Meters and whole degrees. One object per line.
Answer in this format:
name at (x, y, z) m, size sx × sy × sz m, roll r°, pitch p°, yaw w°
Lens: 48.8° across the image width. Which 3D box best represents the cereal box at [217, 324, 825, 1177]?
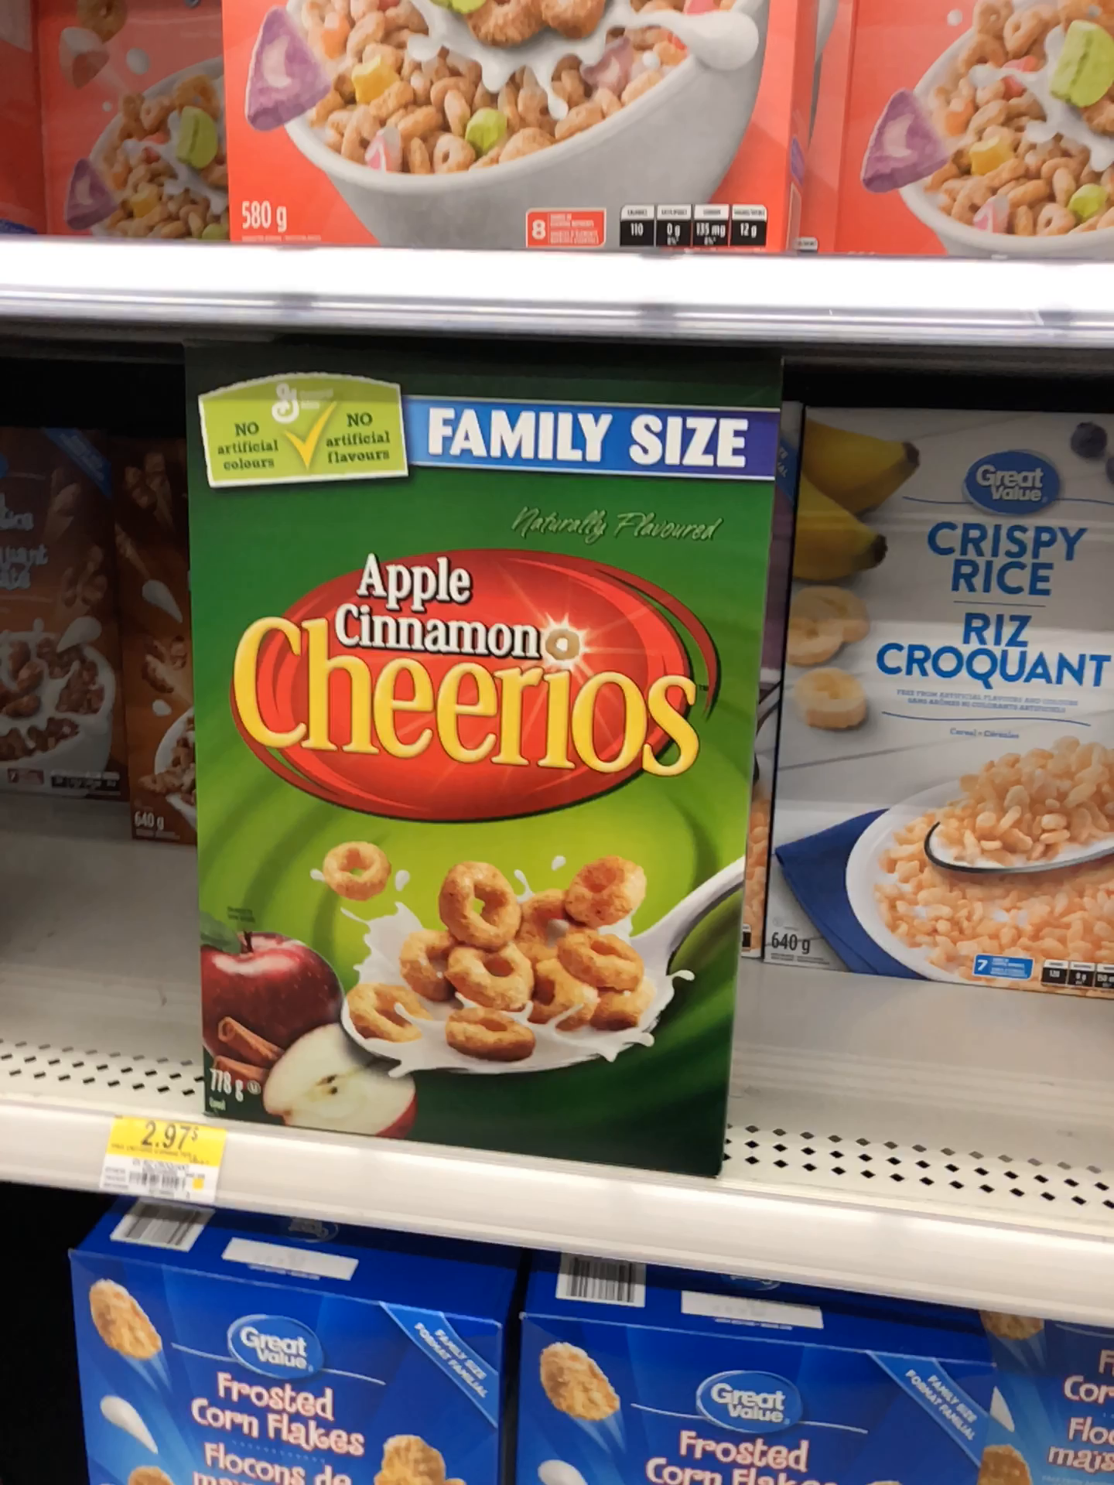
cereal box at (-0.018, 0.002, 0.564) m, size 0.240 × 0.358 × 0.090 m, roll 3°, pitch 14°, yaw 6°
